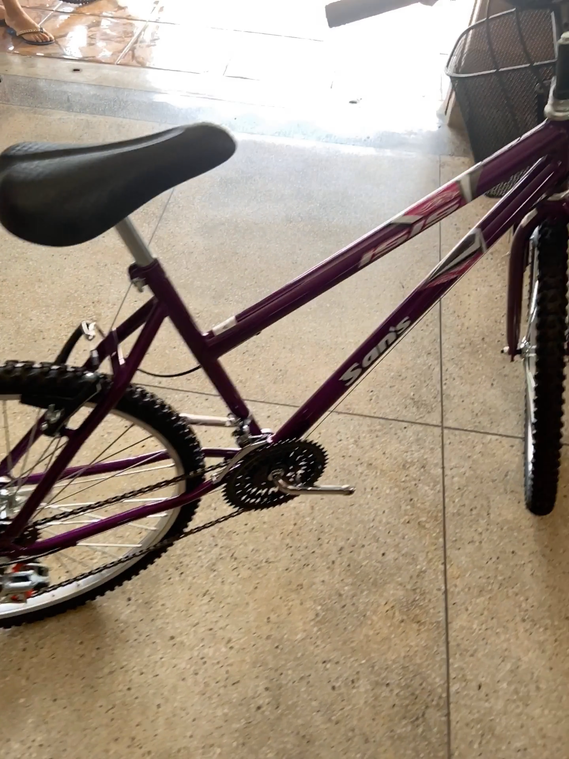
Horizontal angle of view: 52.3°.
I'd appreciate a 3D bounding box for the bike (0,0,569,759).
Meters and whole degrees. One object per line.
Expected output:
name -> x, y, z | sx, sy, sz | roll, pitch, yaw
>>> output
bike -> -0.065, -0.127, 0.879 | 1.524, 1.035, 0.574 | -26, 57, -18
